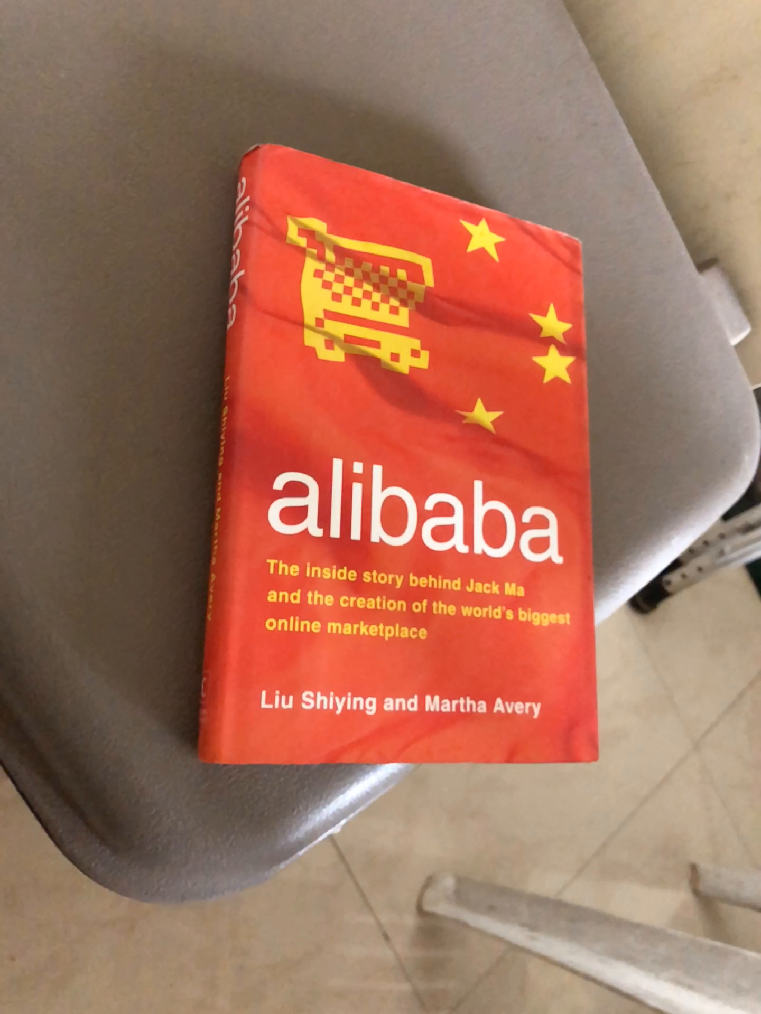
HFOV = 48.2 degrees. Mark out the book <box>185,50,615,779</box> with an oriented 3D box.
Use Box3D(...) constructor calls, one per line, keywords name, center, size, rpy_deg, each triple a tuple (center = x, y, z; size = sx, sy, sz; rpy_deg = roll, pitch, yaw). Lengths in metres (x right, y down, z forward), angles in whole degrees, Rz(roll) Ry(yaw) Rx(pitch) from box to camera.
Box3D(name="book", center=(0.012, -0.031, 0.343), size=(0.161, 0.040, 0.260), rpy_deg=(7, 74, -29))
